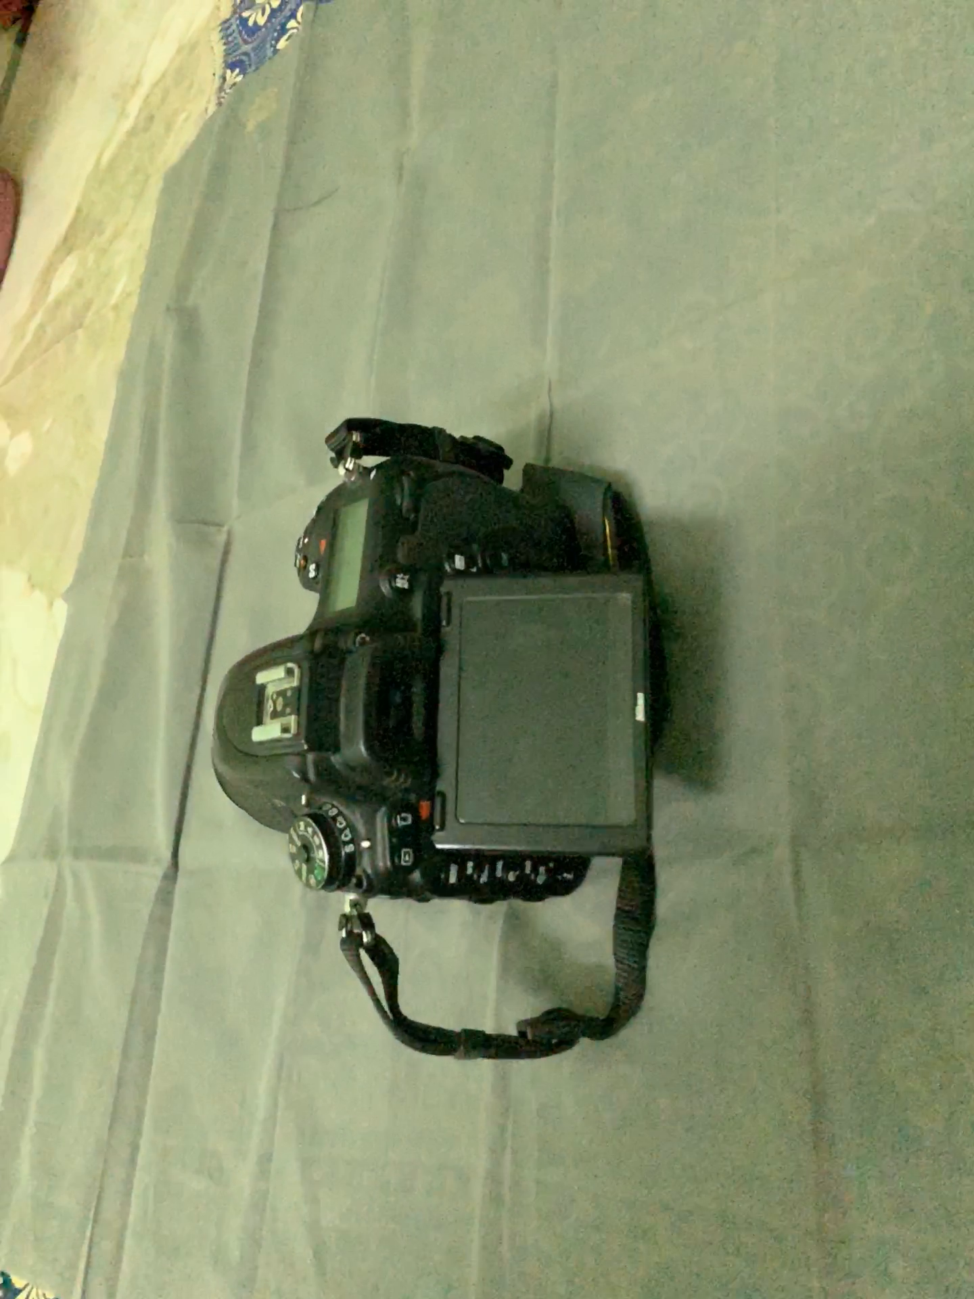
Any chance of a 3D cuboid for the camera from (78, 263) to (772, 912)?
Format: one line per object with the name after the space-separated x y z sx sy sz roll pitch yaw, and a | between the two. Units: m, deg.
-0.030 0.003 0.366 0.231 0.099 0.165 -14 63 39 | camera
